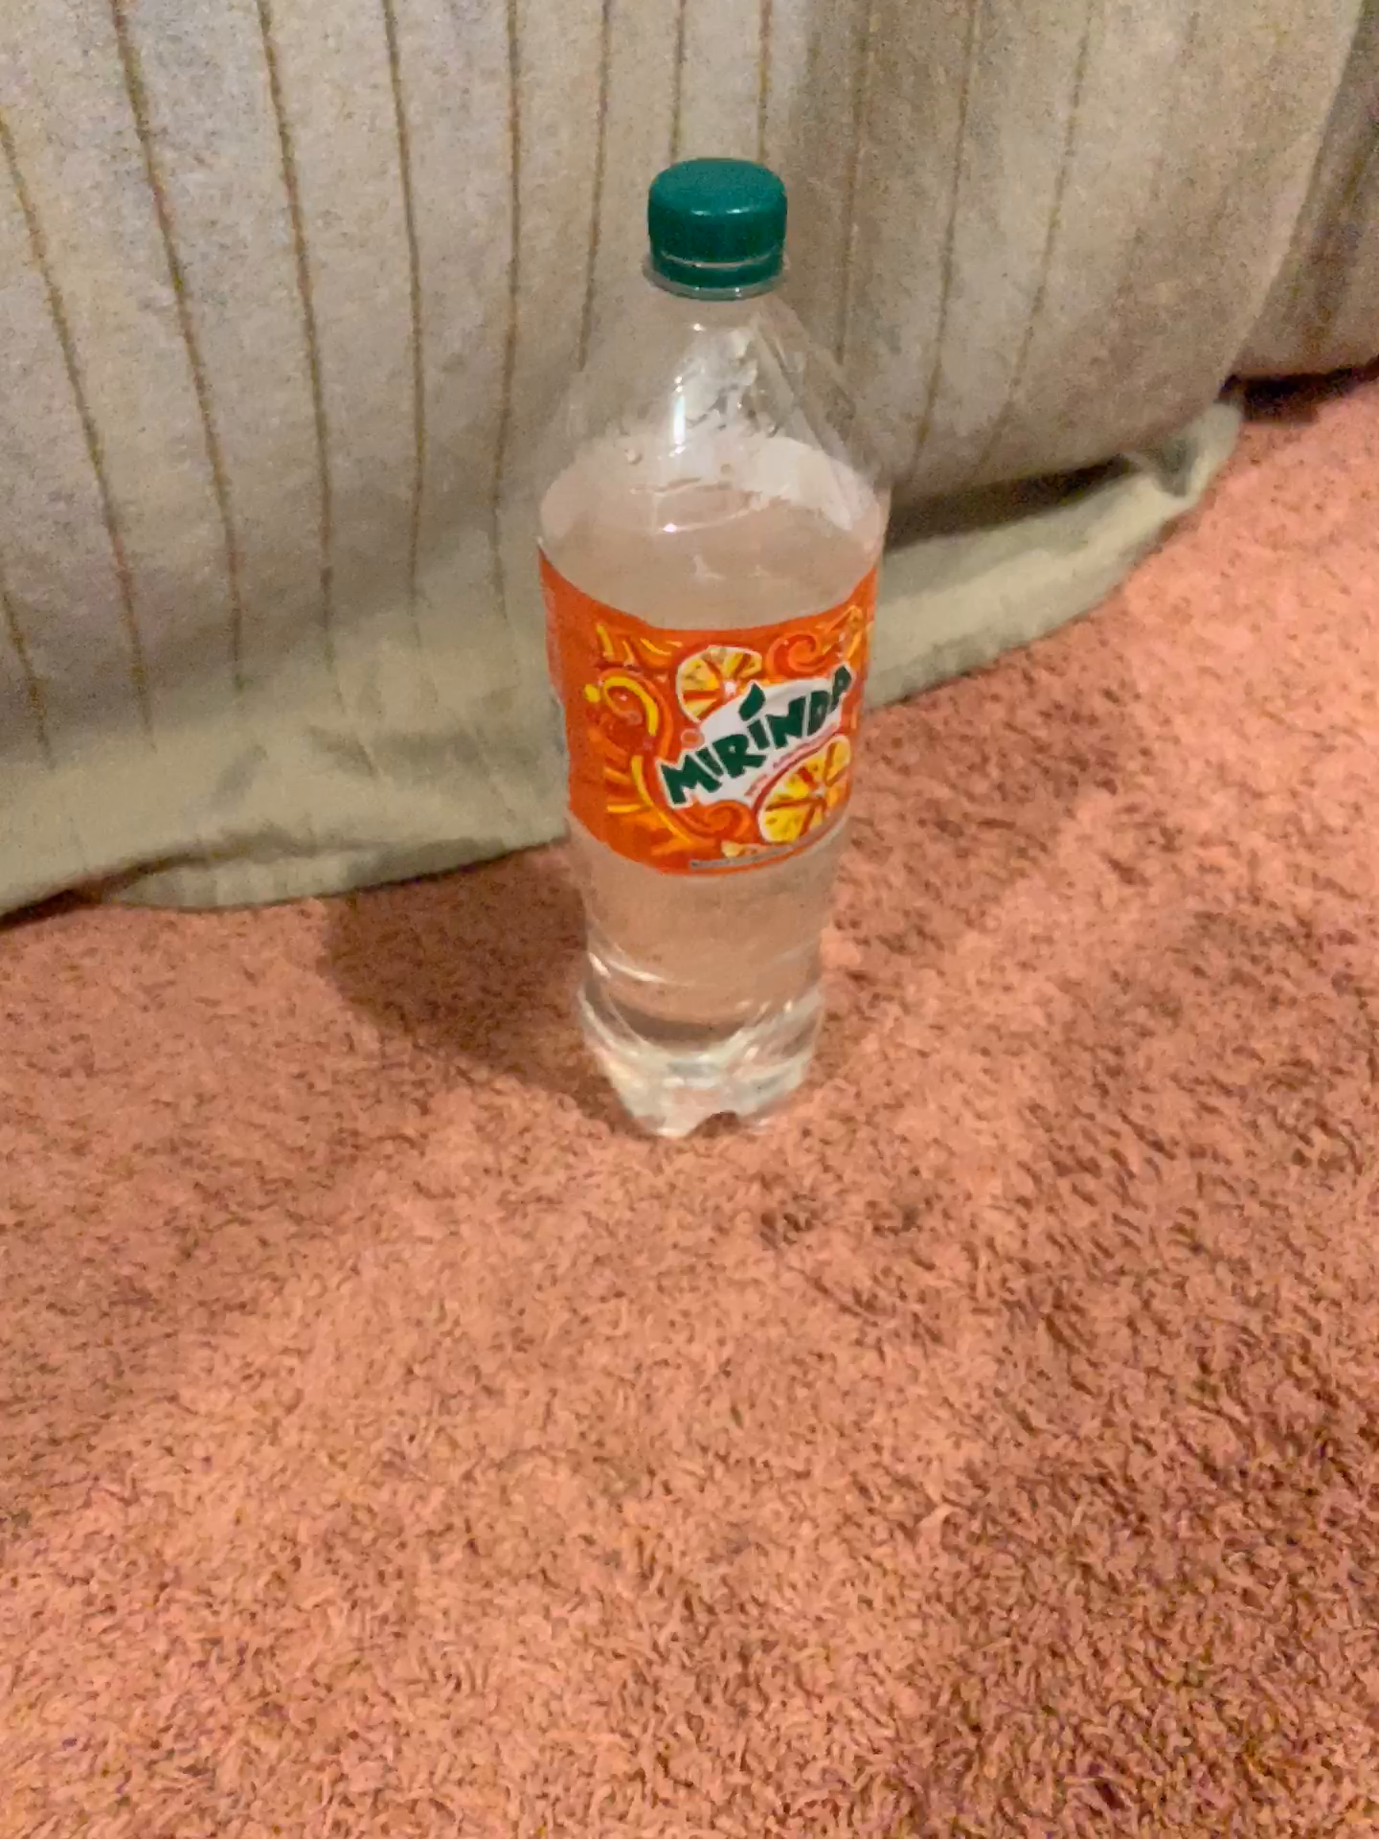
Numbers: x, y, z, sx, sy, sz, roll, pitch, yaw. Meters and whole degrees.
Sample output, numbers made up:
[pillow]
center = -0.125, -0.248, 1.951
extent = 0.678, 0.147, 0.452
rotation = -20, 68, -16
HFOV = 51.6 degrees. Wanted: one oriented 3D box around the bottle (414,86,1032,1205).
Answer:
[bottle]
center = 0.003, -0.055, 0.413
extent = 0.100, 0.297, 0.101
rotation = 0, 47, 0
